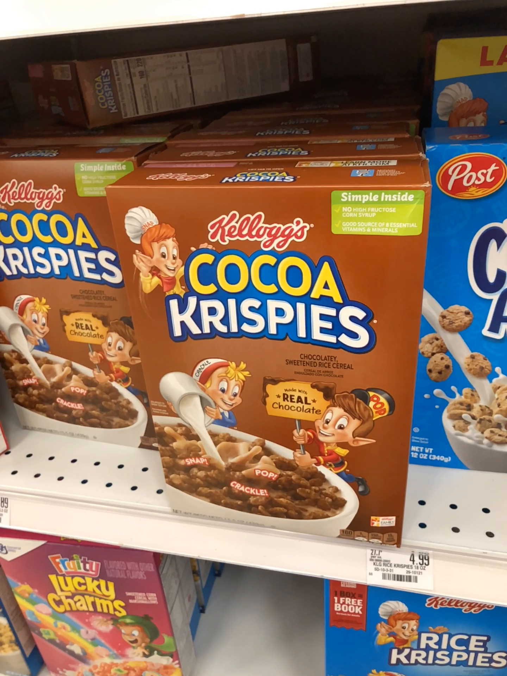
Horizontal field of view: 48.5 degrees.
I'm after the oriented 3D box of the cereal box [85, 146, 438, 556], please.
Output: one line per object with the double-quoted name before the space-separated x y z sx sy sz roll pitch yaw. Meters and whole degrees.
"cereal box" 0.016 0.020 0.412 0.200 0.289 0.070 3 32 14
